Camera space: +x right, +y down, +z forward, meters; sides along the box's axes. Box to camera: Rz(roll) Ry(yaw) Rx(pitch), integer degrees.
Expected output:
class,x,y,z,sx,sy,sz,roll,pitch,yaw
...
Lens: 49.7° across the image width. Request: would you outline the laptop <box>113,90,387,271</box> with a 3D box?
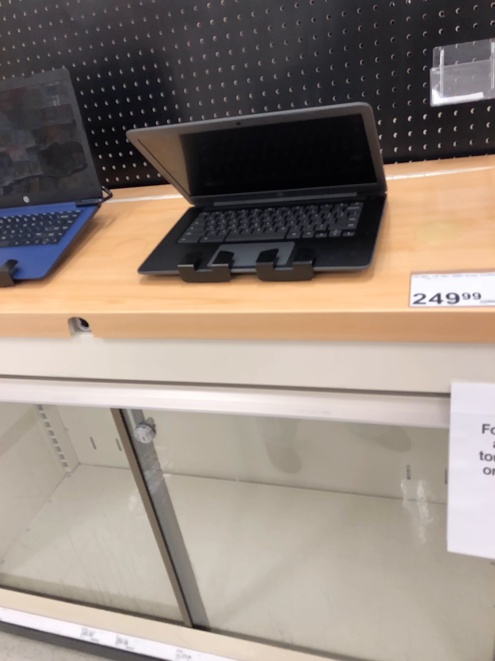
class,x,y,z,sx,sy,sz,roll,pitch,yaw
laptop,0.017,-0.205,0.741,0.319,0.144,0.201,1,36,20
